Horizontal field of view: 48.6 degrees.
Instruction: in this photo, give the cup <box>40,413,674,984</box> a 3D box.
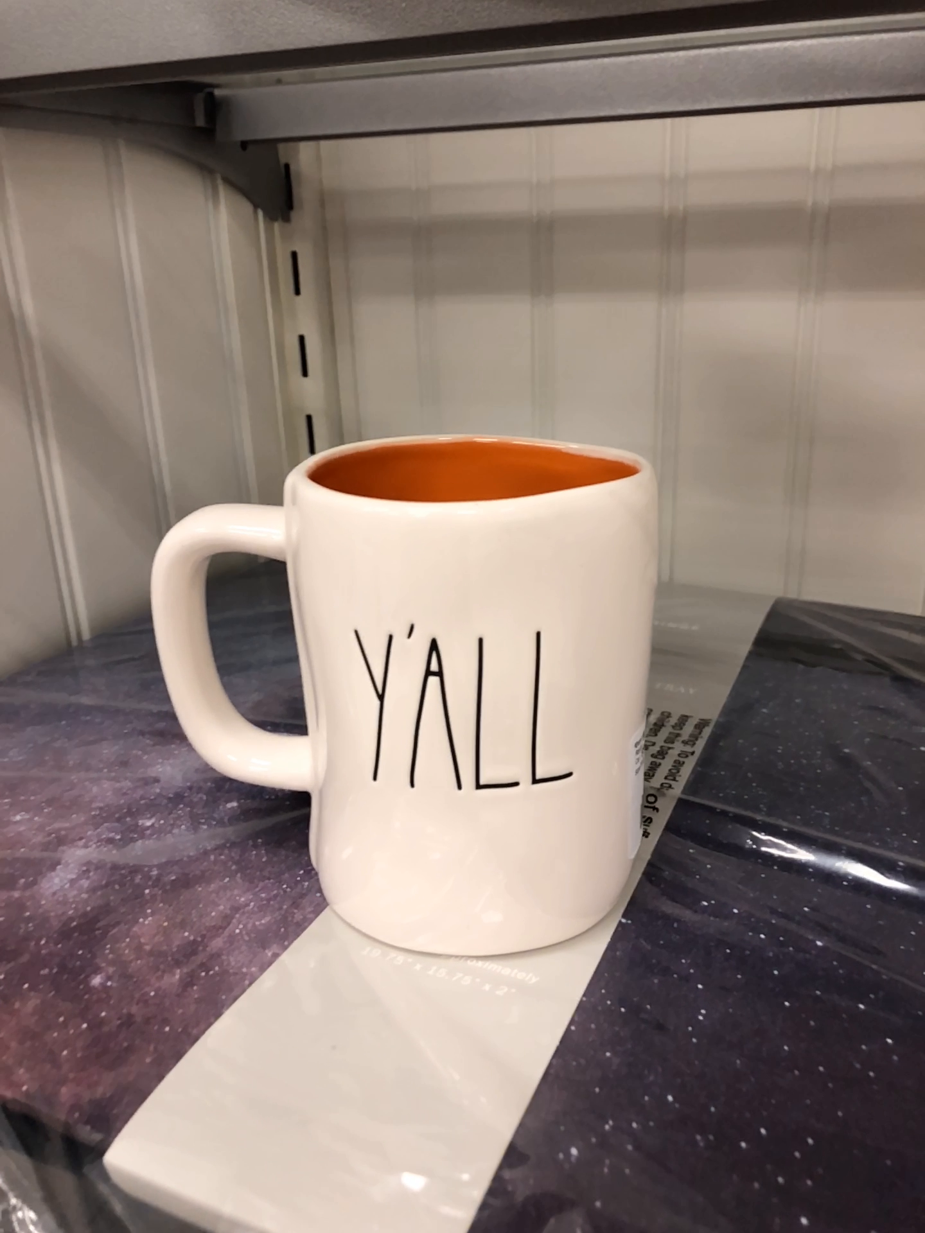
[{"bbox_3d":[-0.018,0.012,0.284,0.140,0.119,0.091,3,21,14],"label":"cup"}]
